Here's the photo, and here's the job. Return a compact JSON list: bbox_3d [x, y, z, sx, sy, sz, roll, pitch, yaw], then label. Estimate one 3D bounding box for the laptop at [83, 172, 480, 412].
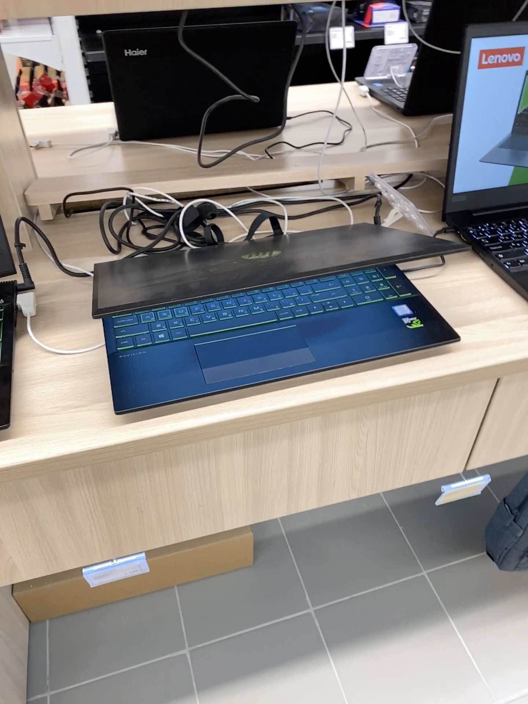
[{"bbox_3d":[0.003,-0.090,0.595,0.361,0.092,0.243,-11,42,-15],"label":"laptop"}]
